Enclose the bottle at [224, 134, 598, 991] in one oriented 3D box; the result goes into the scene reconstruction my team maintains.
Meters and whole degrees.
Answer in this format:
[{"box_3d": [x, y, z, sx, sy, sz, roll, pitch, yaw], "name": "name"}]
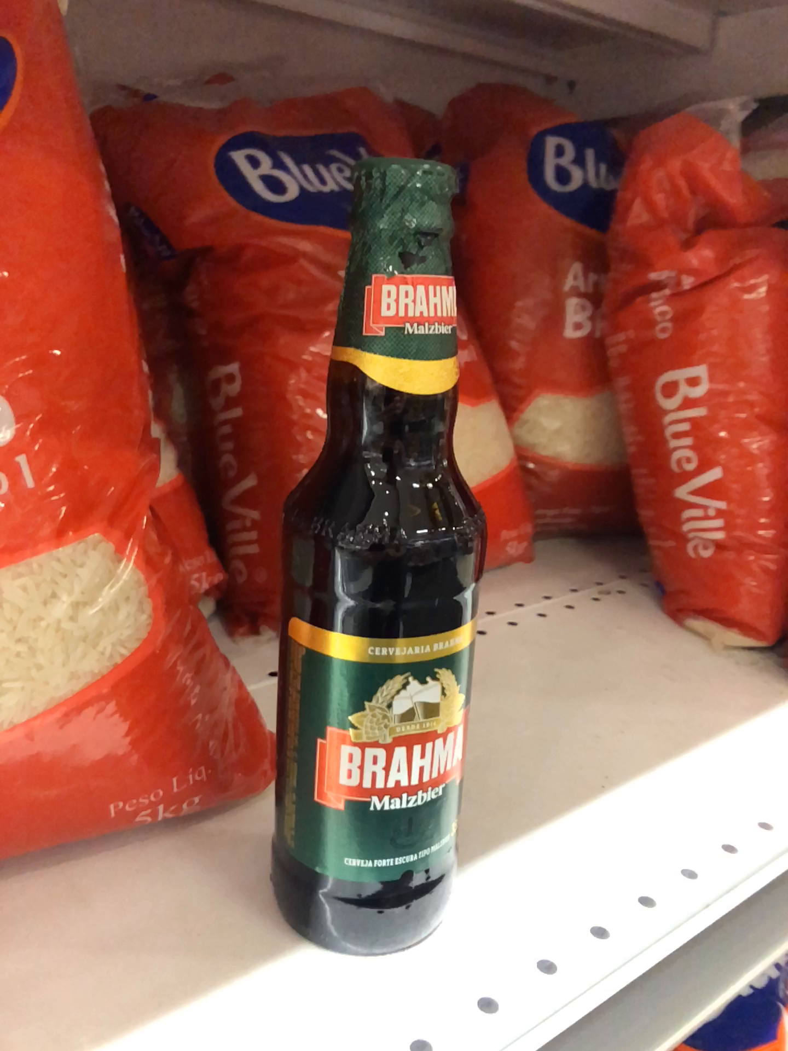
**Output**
[{"box_3d": [-0.003, 0.013, 0.263, 0.070, 0.229, 0.060, -8, 22, -35], "name": "bottle"}]
